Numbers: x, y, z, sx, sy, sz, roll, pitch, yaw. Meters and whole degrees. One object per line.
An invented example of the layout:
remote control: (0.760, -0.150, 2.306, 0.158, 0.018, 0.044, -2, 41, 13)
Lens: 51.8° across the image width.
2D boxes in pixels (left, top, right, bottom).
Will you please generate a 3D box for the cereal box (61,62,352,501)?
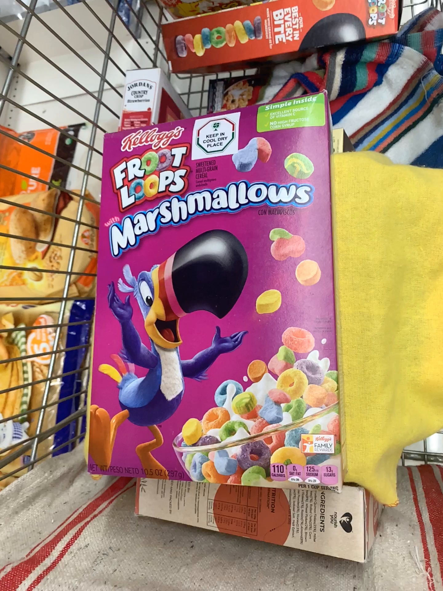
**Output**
cereal box: (-0.009, -0.009, 0.339, 0.190, 0.070, 0.270, -3, 80, 18)
